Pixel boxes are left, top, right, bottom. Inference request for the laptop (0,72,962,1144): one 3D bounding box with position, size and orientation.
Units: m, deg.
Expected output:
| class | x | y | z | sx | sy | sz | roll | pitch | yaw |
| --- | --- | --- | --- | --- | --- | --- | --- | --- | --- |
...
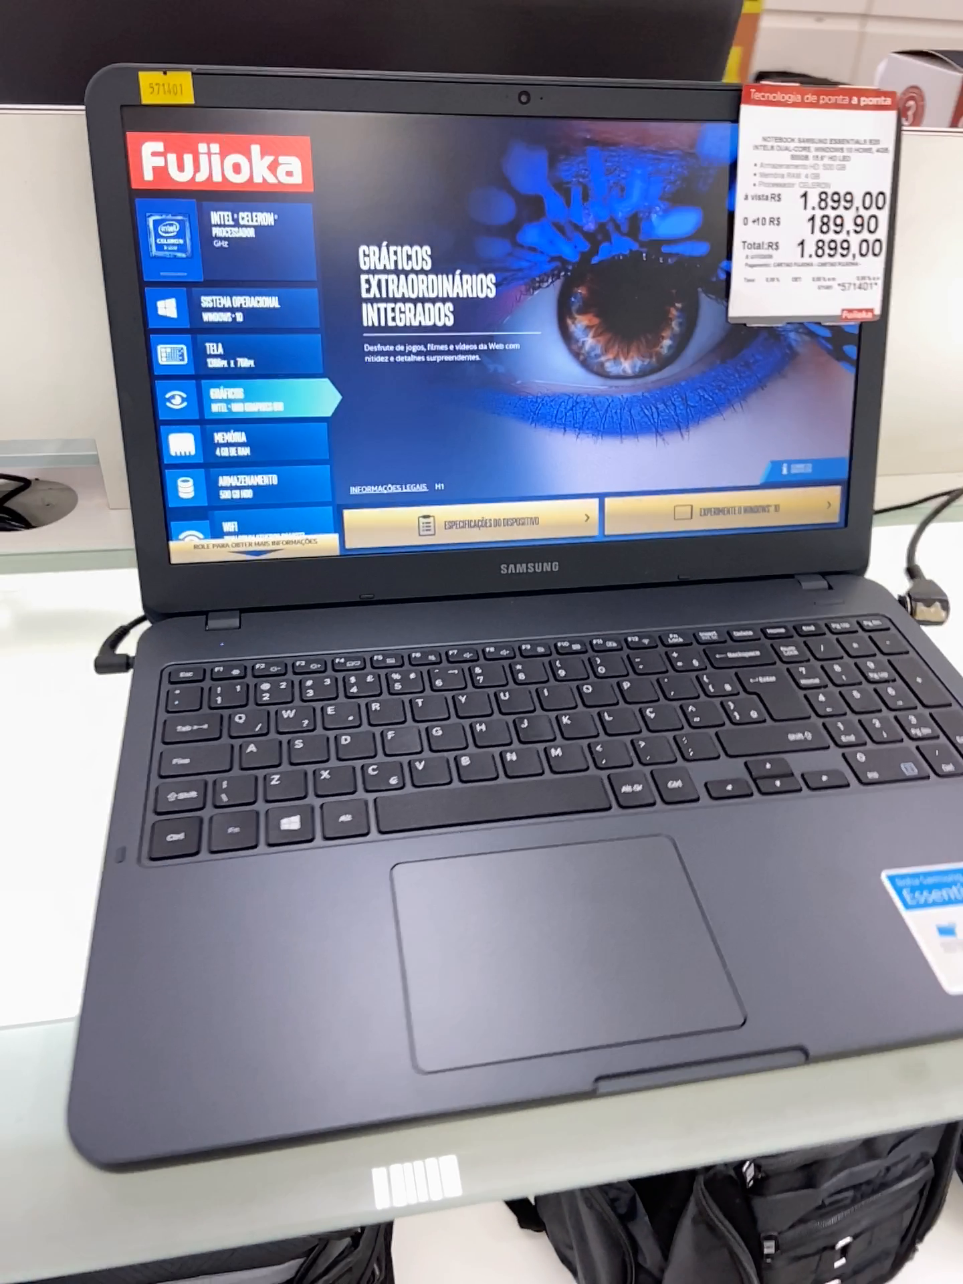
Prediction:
| class | x | y | z | sx | sy | sz | roll | pitch | yaw |
| --- | --- | --- | --- | --- | --- | --- | --- | --- | --- |
| laptop | 0.041 | -0.062 | 0.375 | 0.366 | 0.207 | 0.348 | -4 | 39 | -9 |
